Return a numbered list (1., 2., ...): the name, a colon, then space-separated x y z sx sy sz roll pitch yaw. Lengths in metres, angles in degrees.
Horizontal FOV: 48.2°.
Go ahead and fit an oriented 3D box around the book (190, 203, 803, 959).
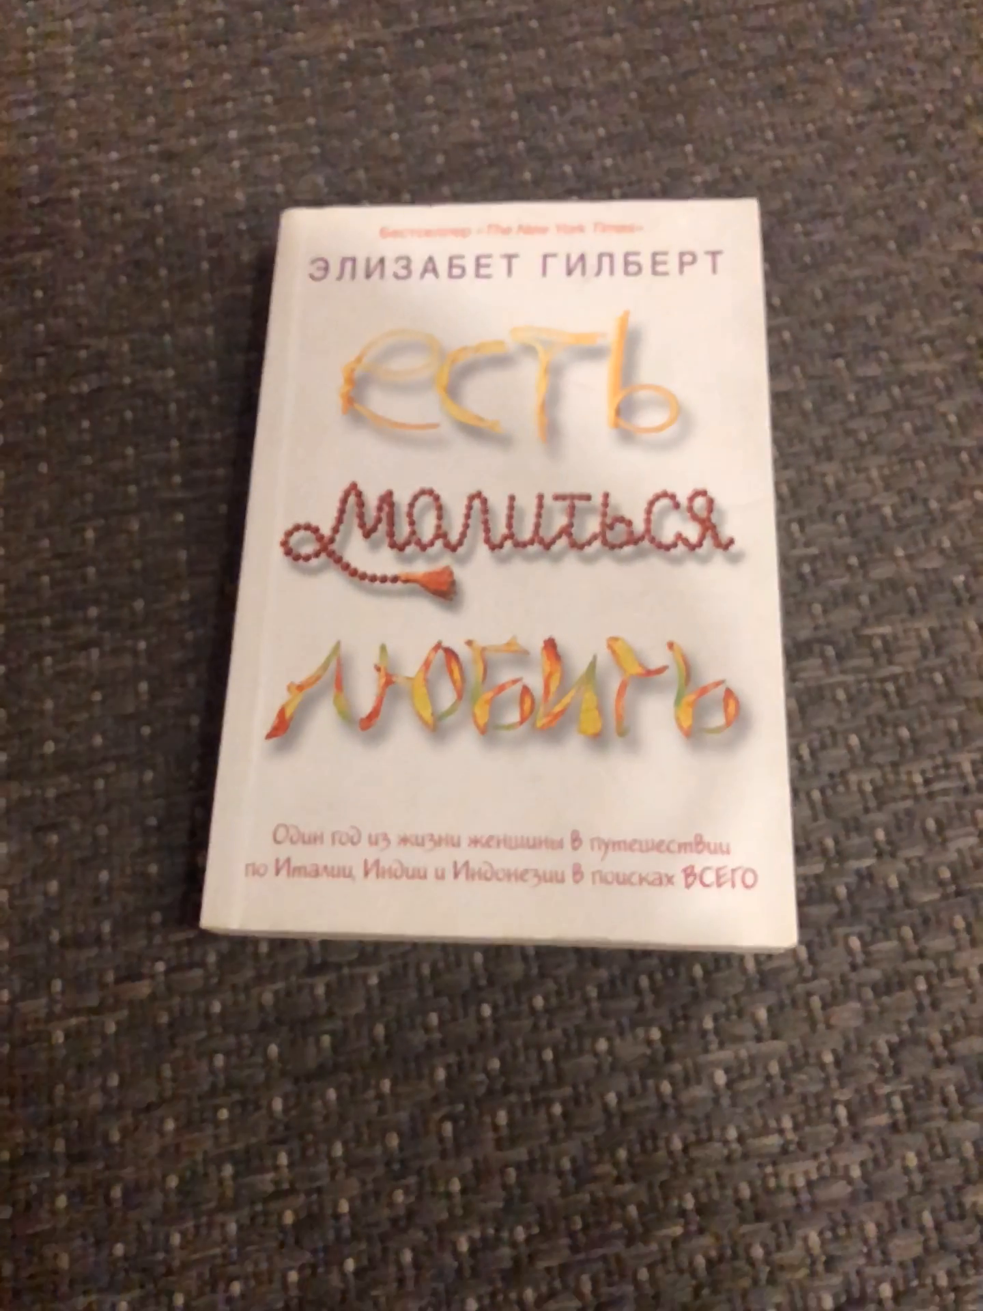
1. book: 0.004 -0.027 0.309 0.142 0.041 0.210 1 70 2
